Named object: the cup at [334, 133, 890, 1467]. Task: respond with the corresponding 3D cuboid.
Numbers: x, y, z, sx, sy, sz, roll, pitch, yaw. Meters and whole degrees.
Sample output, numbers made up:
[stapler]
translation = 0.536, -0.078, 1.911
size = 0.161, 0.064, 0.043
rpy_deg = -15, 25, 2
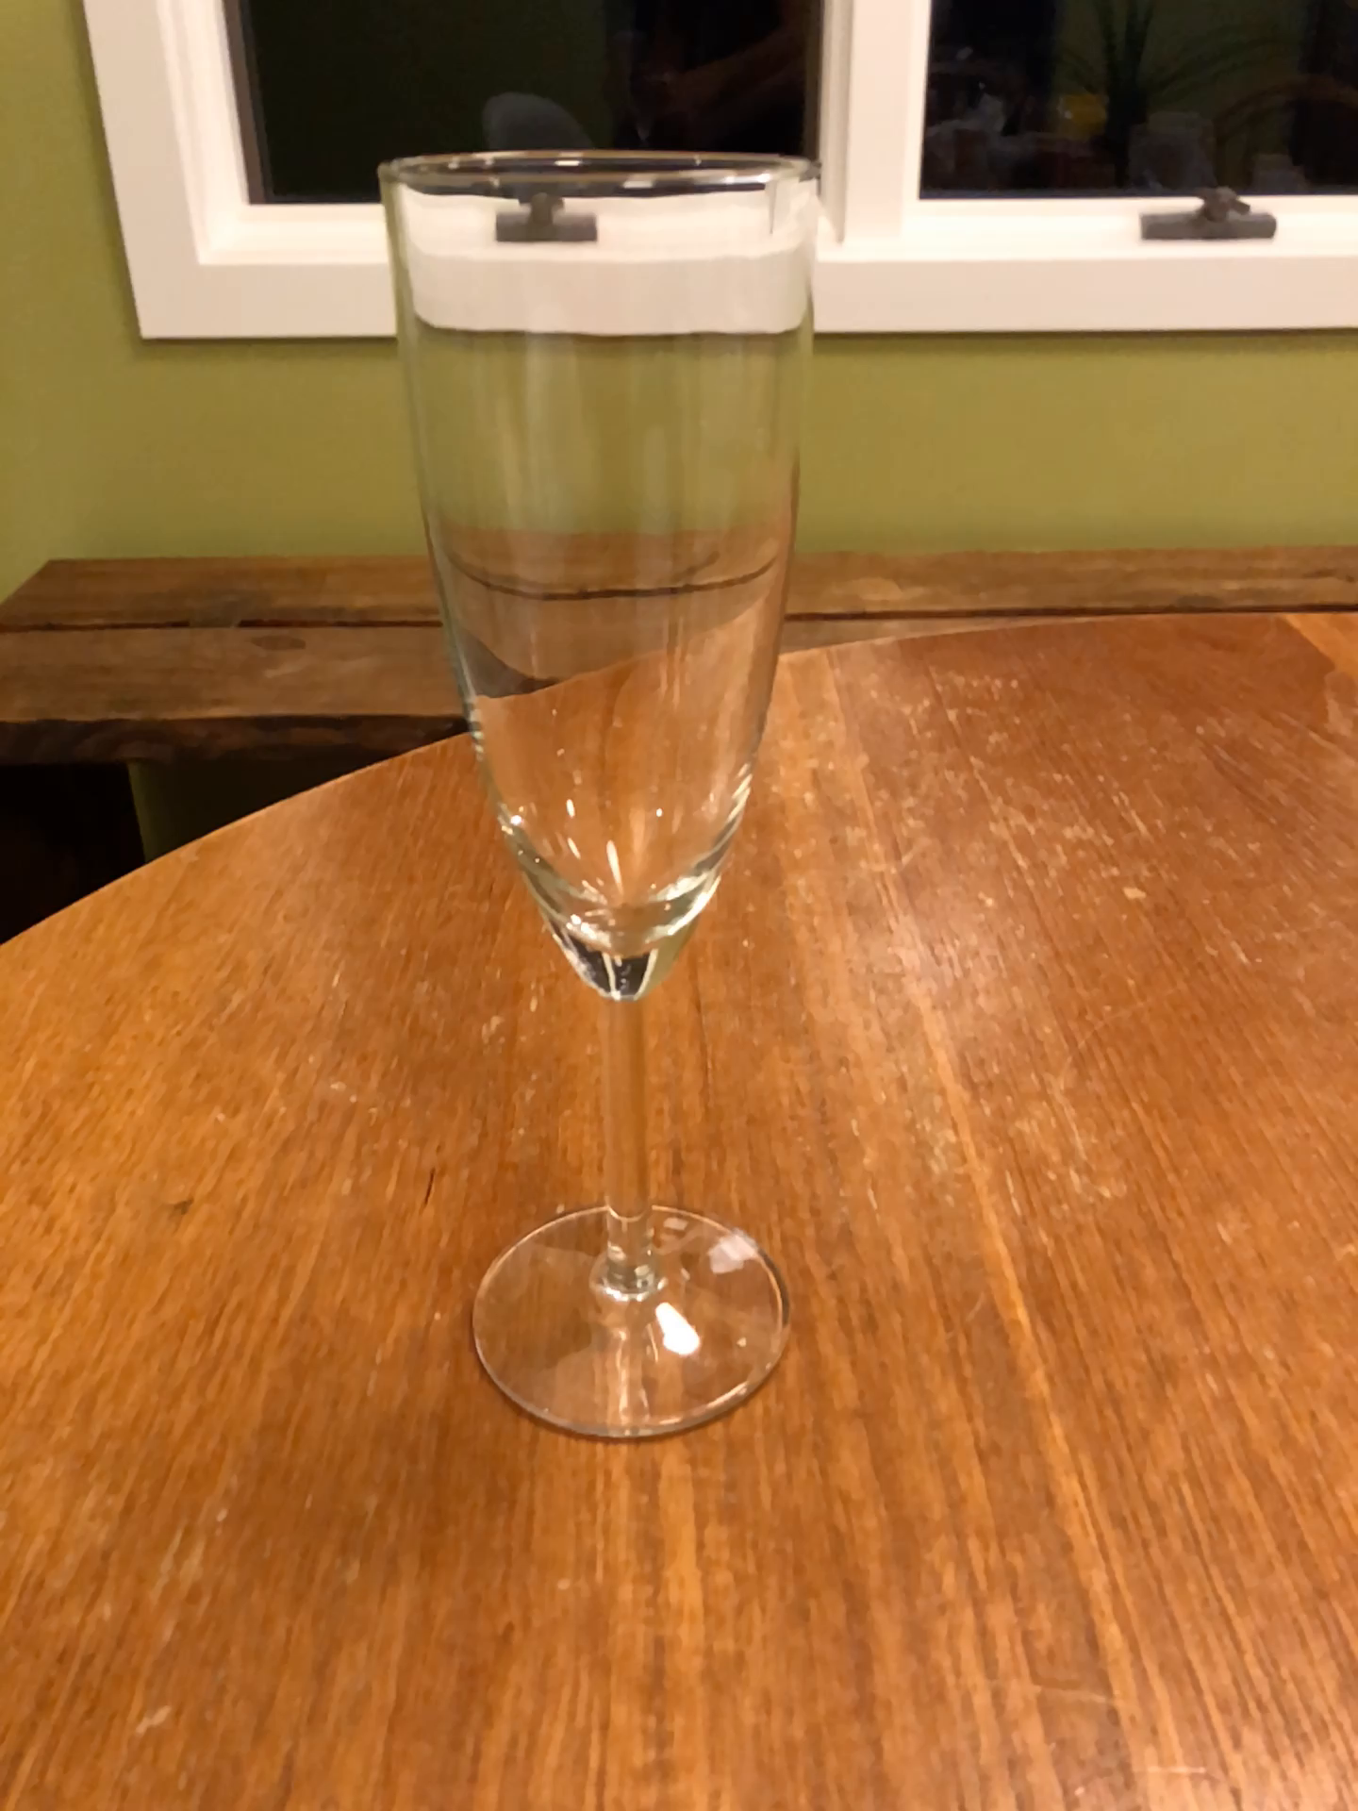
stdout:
[cup]
translation = -0.013, -0.012, 0.262
size = 0.066, 0.215, 0.074
rpy_deg = -6, 29, -10
